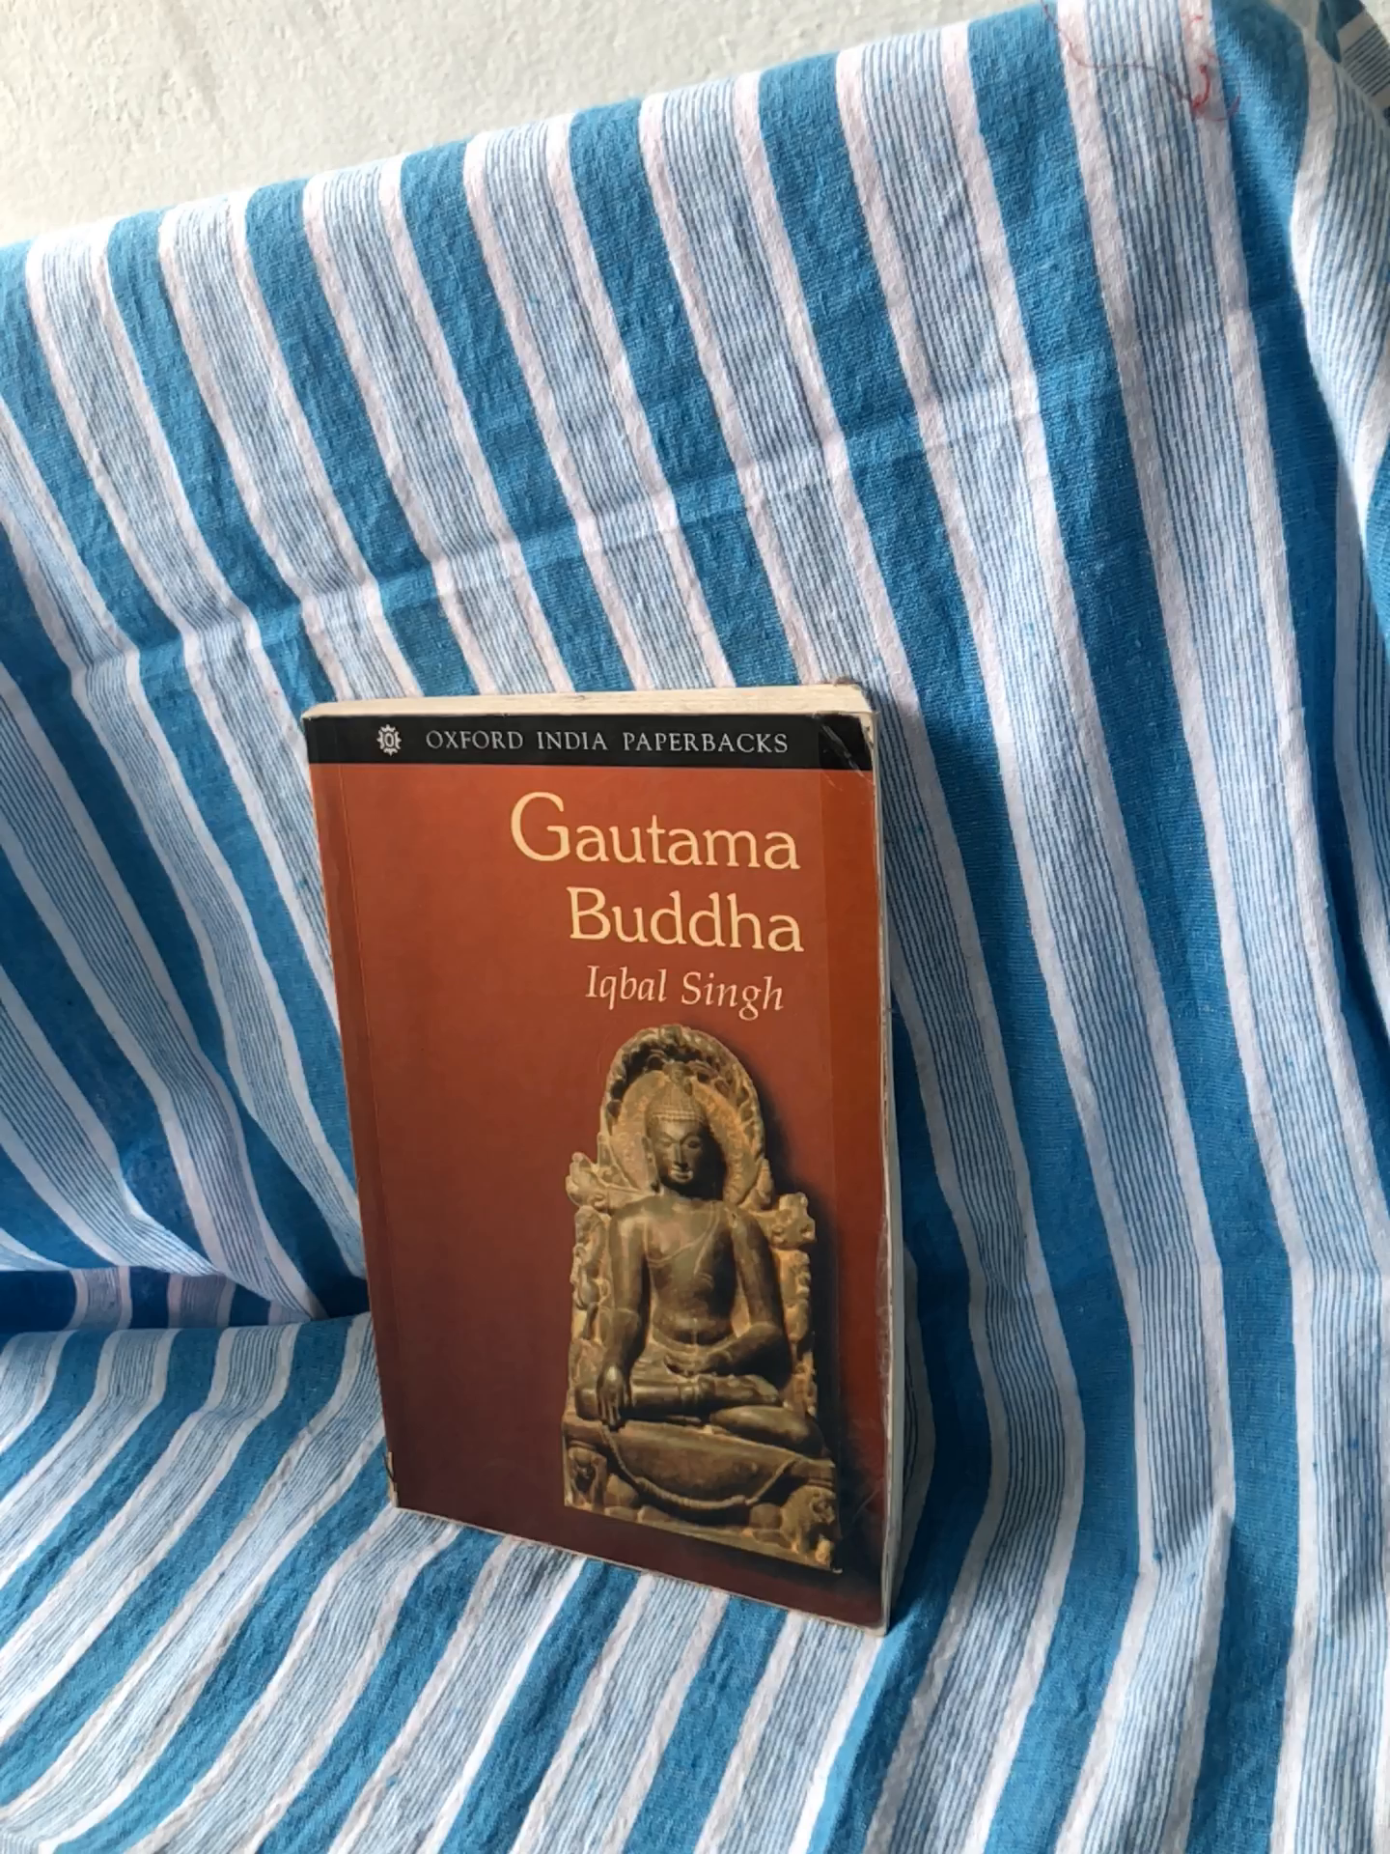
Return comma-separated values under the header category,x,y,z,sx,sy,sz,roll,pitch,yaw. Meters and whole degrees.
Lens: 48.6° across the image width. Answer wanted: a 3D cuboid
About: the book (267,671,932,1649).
category,x,y,z,sx,sy,sz,roll,pitch,yaw
book,-0.021,0.049,0.365,0.140,0.209,0.040,2,14,26
